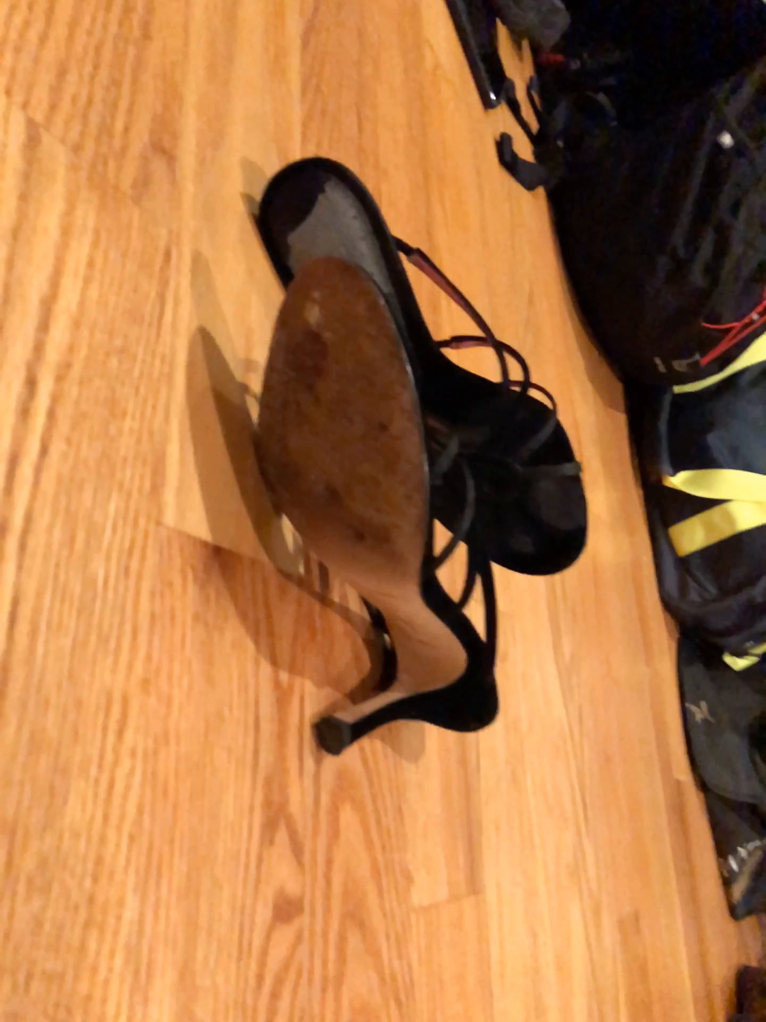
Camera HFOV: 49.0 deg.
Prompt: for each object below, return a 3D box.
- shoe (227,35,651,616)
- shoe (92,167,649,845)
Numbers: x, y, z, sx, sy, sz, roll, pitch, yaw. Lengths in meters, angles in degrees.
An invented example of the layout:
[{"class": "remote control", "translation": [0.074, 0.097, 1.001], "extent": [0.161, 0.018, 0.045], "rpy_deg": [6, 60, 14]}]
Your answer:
[{"class": "shoe", "translation": [0.042, -0.072, 0.395], "extent": [0.235, 0.104, 0.082], "rpy_deg": [64, 30, -27]}, {"class": "shoe", "translation": [0.018, 0.011, 0.310], "extent": [0.215, 0.104, 0.102], "rpy_deg": [63, 29, -28]}]
